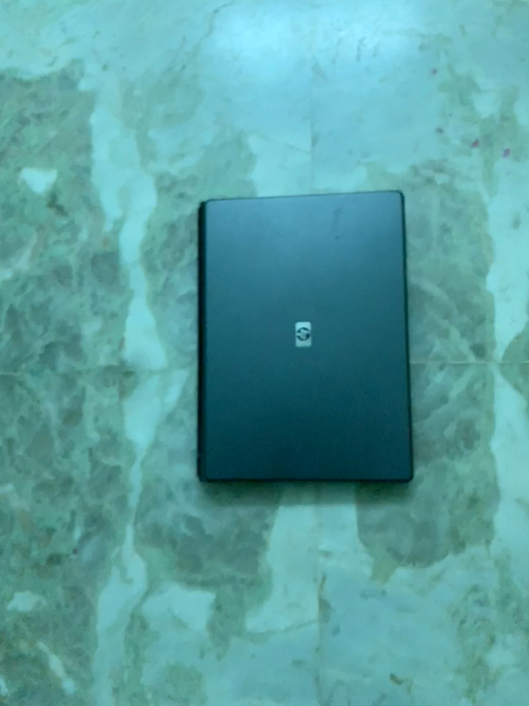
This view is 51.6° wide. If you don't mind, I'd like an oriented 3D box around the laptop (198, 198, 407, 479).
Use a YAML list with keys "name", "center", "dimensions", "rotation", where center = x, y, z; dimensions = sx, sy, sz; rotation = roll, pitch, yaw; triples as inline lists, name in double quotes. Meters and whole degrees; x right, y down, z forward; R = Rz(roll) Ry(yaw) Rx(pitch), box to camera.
- name: "laptop"
  center: [0.037, -0.018, 0.615]
  dimensions: [0.226, 0.001, 0.310]
  rotation: [-1, 85, 7]
